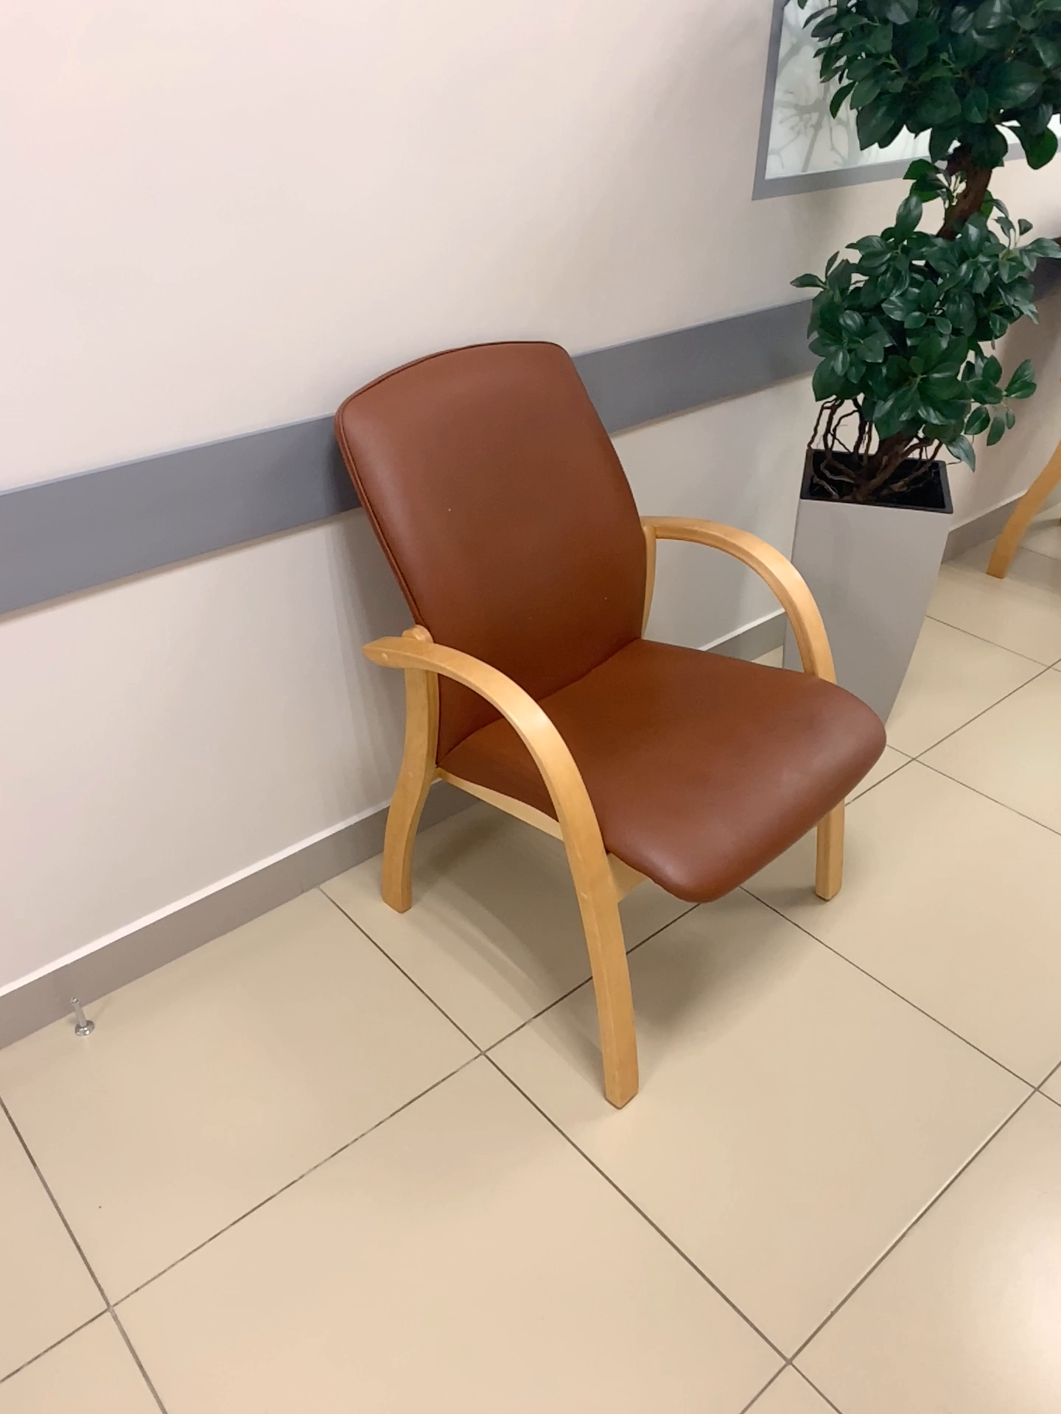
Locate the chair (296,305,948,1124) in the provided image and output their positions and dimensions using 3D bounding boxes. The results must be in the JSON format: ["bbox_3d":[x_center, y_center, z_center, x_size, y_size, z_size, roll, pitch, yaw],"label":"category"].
[{"bbox_3d":[0.130,-0.030,1.743,0.601,0.984,0.672,28,41,35],"label":"chair"}]
